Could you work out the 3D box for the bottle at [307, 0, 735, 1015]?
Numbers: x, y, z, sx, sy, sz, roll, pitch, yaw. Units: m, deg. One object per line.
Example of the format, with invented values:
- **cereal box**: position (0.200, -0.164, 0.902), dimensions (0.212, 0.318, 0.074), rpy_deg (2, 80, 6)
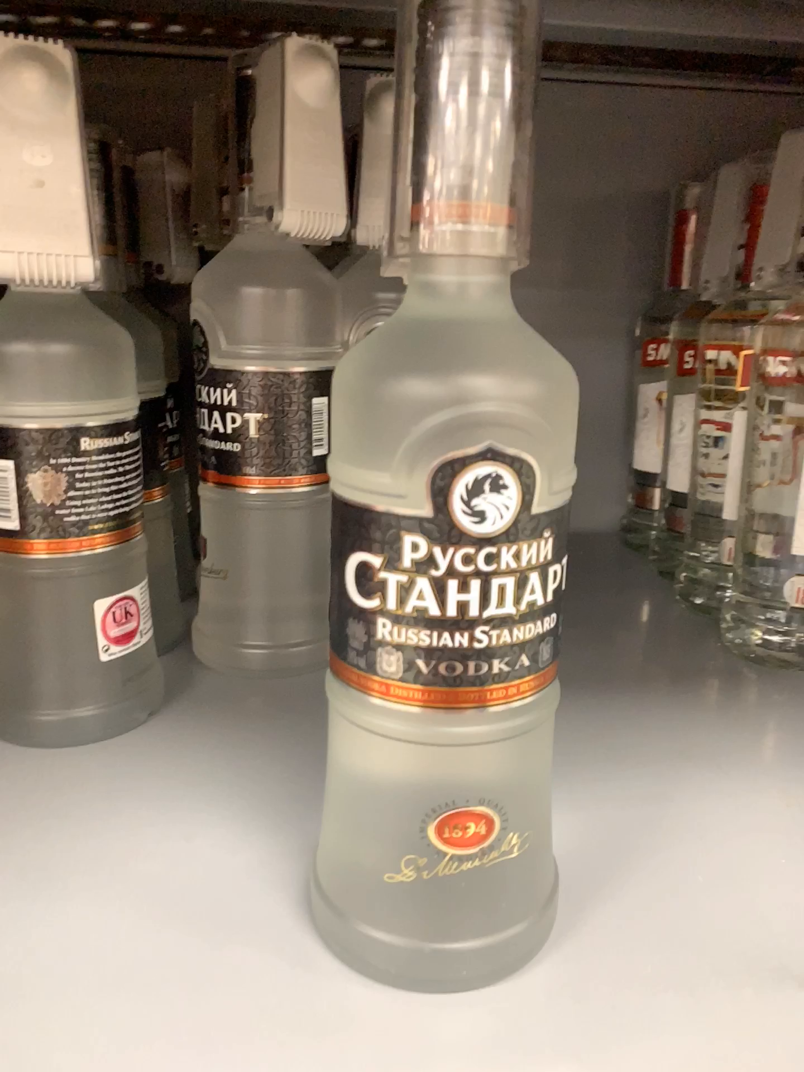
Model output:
- **bottle**: position (0.019, -0.013, 0.251), dimensions (0.092, 0.288, 0.088), rpy_deg (1, 14, 0)
